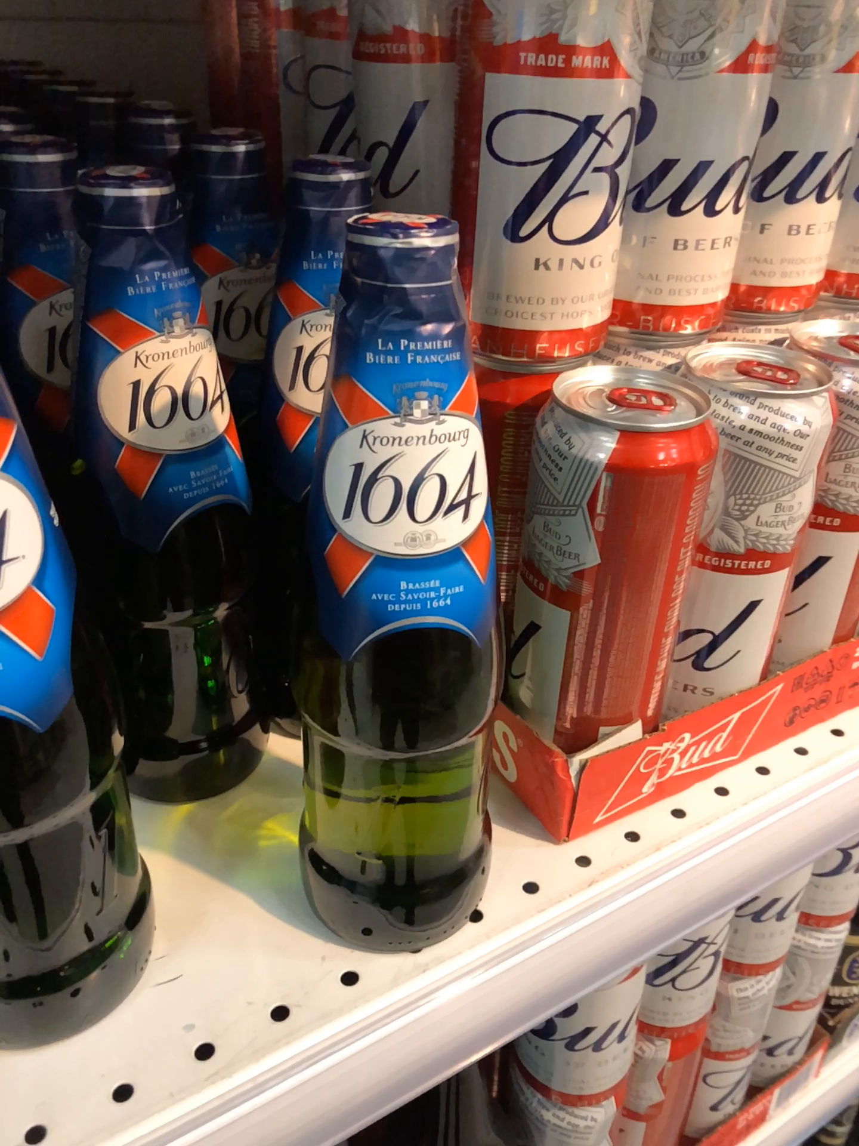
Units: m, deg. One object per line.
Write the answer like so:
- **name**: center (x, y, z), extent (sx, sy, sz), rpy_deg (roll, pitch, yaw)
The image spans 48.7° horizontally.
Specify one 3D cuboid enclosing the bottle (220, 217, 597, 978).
- **bottle**: center (-0.012, 0.014, 0.290), extent (0.080, 0.219, 0.080), rpy_deg (2, 30, -1)
